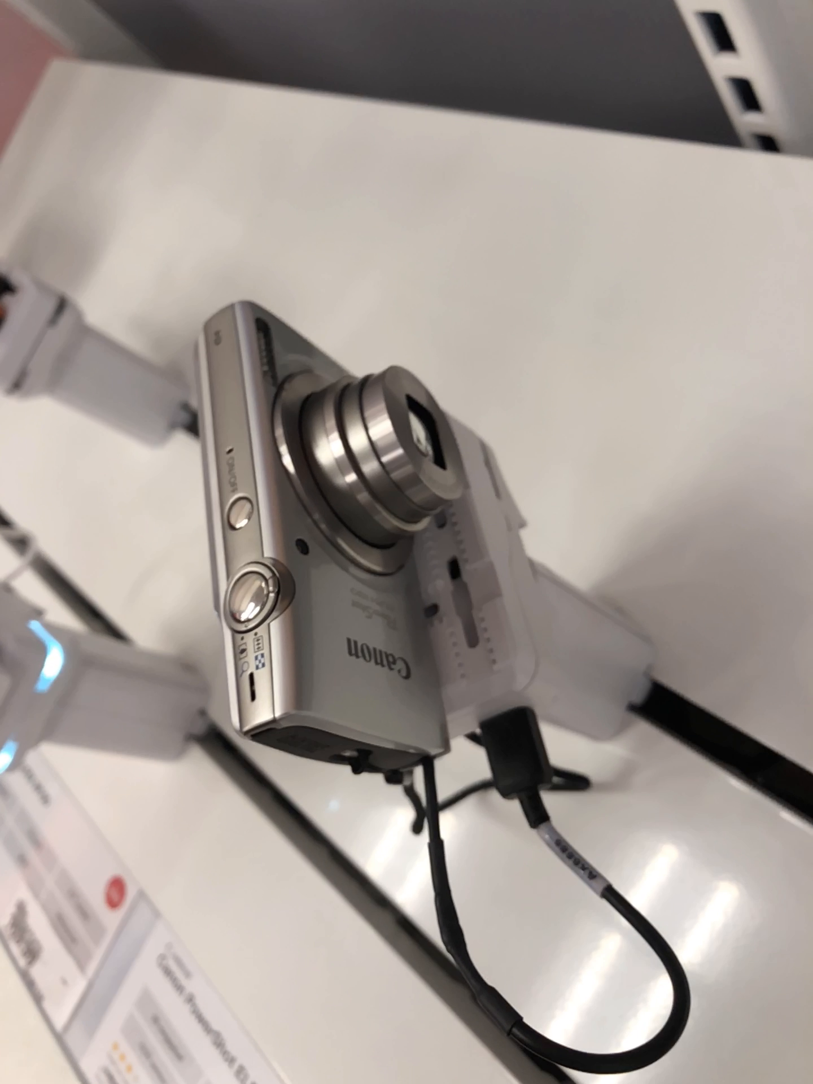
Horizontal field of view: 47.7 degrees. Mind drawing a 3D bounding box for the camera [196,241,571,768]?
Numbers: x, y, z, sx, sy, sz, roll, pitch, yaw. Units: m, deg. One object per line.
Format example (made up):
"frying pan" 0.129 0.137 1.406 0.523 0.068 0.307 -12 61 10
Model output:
"camera" -0.007 -0.005 0.194 0.042 0.055 0.089 -26 59 27
